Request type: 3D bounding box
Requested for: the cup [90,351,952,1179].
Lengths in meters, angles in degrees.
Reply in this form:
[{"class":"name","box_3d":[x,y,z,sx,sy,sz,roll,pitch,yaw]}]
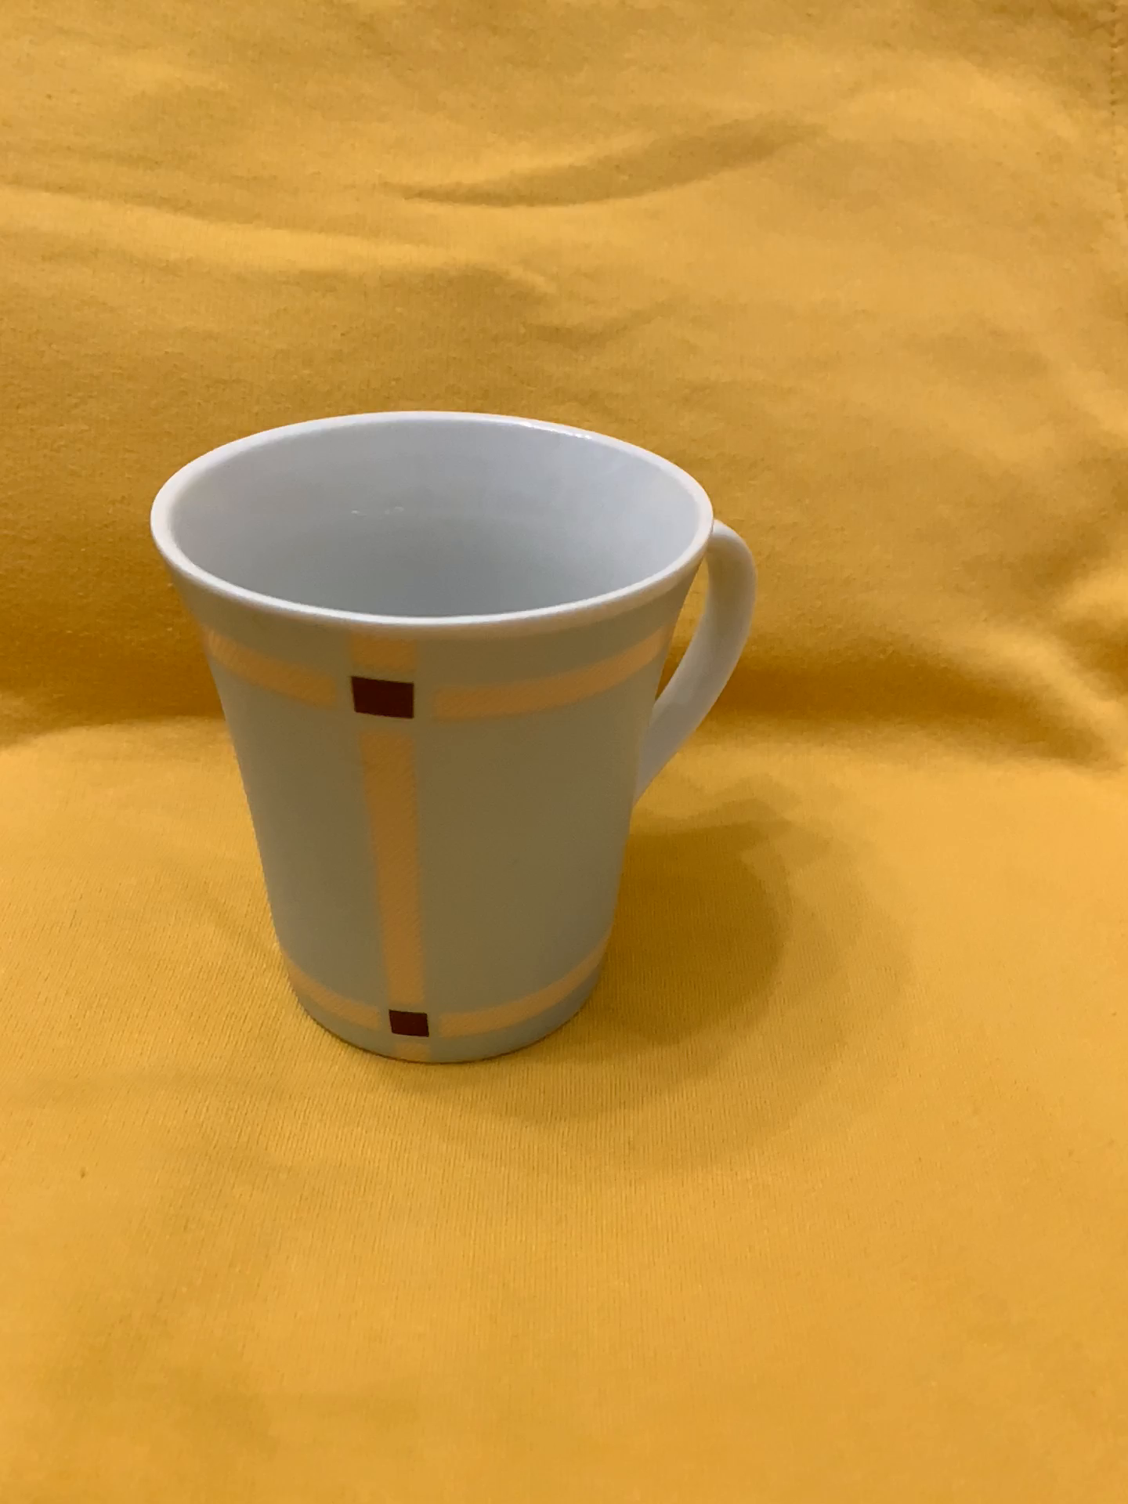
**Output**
[{"class":"cup","box_3d":[-0.014,-0.008,0.236,0.120,0.103,0.099,-15,39,-25]}]
